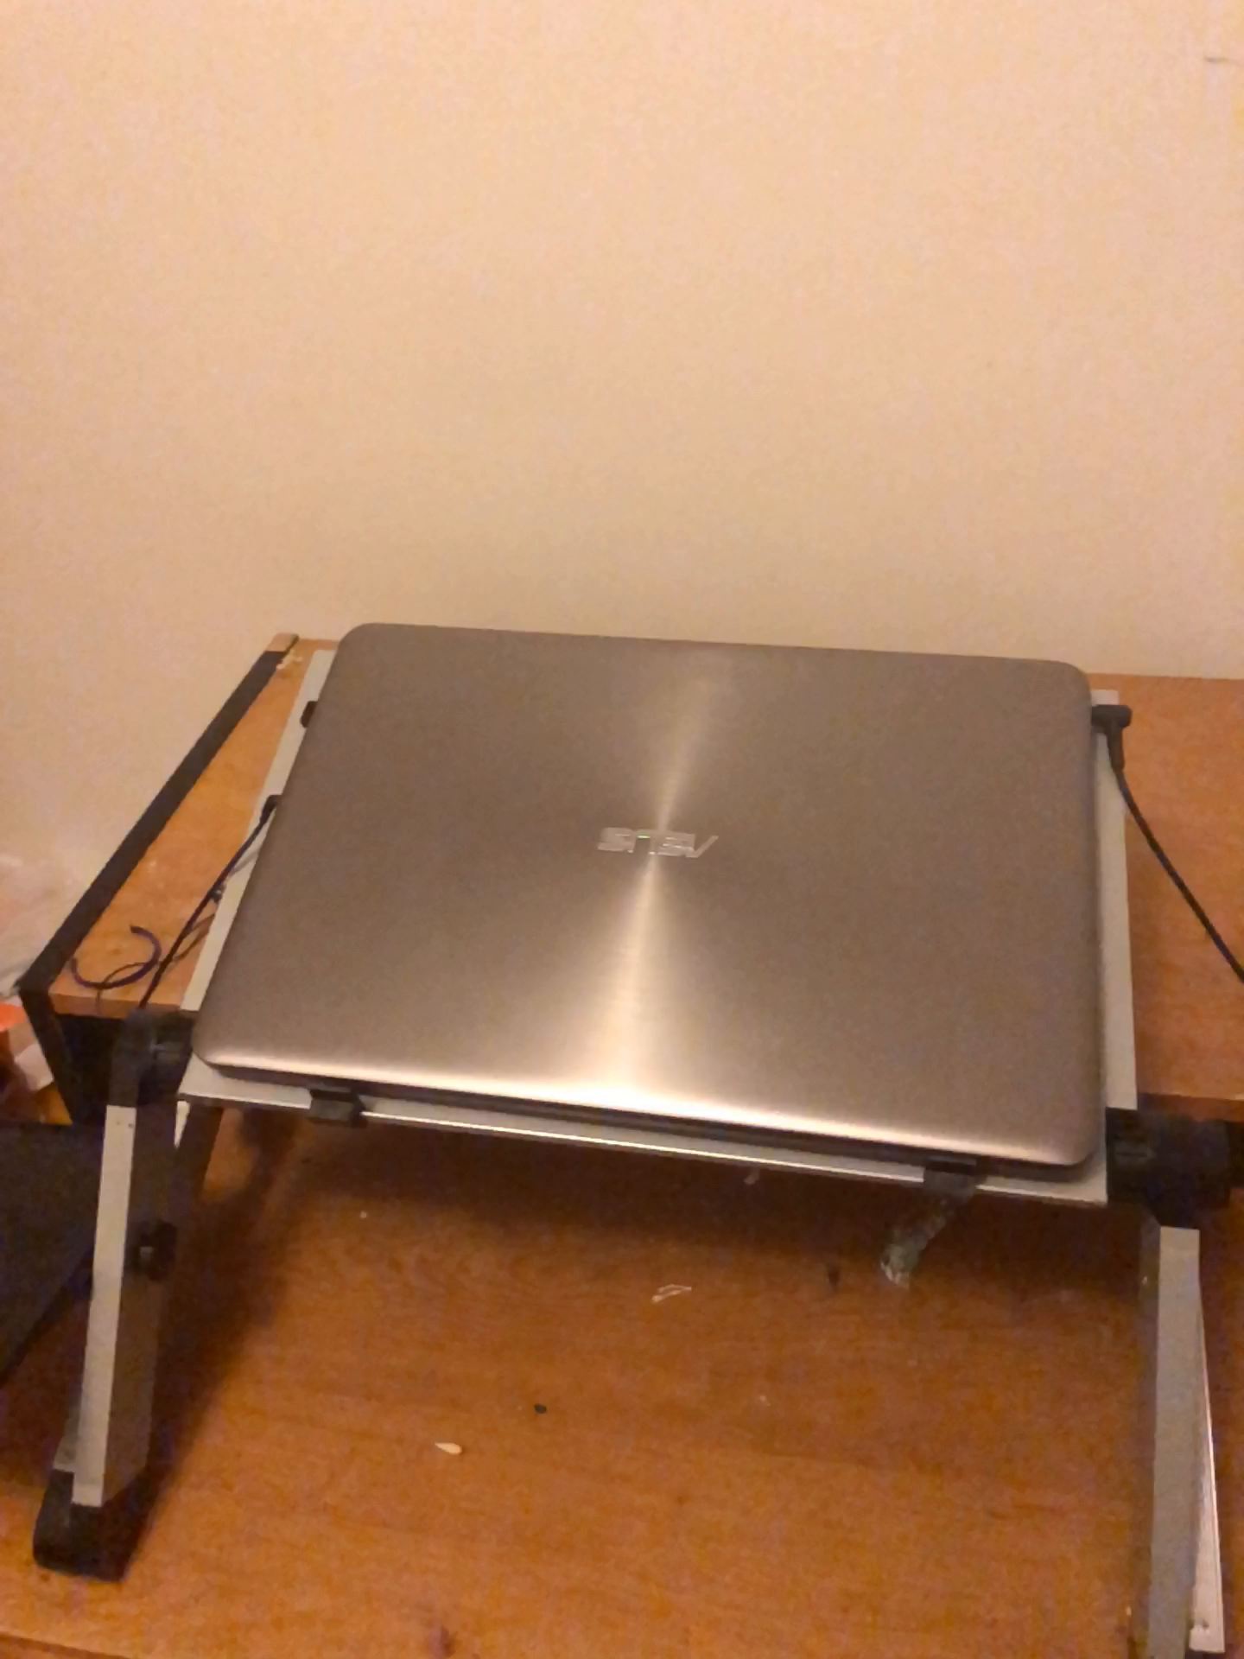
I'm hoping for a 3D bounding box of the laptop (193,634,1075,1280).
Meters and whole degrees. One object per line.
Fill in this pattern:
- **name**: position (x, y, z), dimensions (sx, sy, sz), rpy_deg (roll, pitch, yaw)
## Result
- **laptop**: position (0.016, 0.039, 0.640), dimensions (0.362, 0.071, 0.250), rpy_deg (4, 53, 12)
